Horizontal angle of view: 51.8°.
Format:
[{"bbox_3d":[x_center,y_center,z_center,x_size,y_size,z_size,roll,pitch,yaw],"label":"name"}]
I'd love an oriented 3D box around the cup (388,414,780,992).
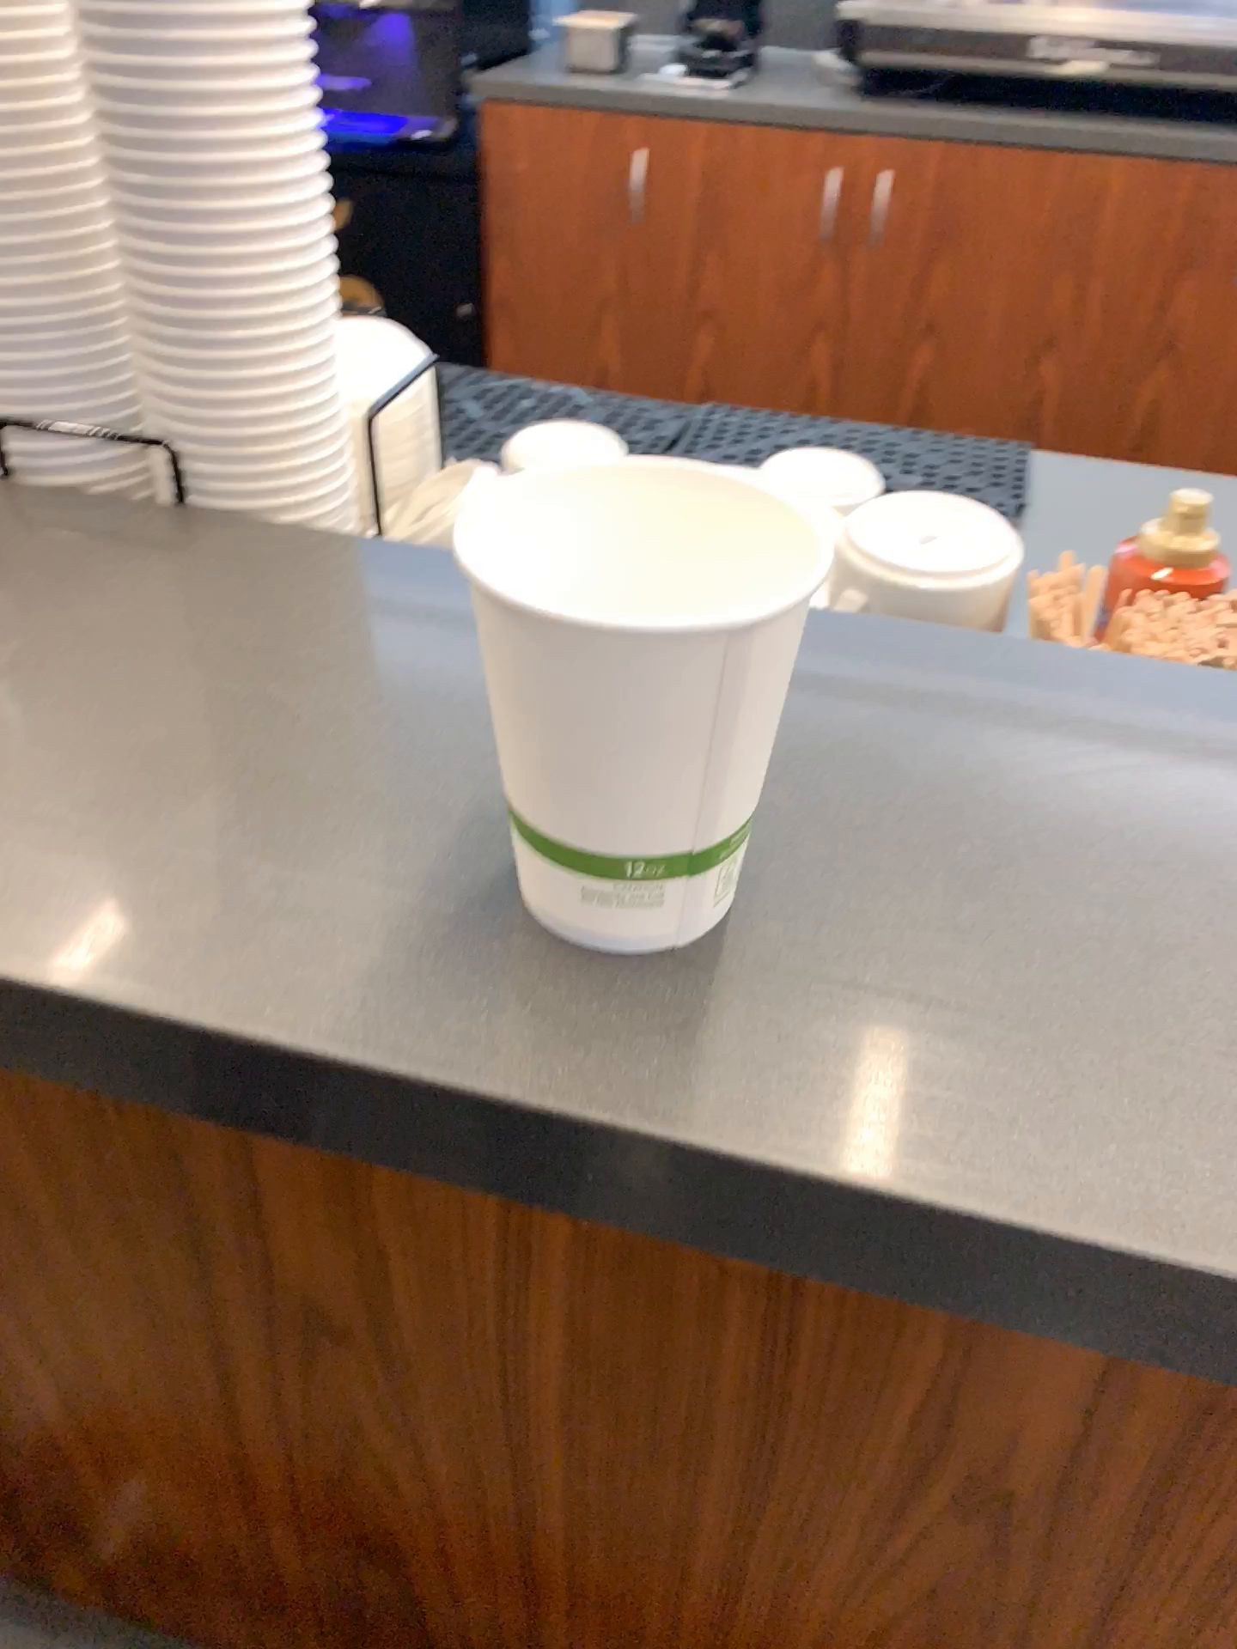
[{"bbox_3d":[-0.007,-0.030,0.328,0.080,0.119,0.080,1,38,-1],"label":"cup"}]
